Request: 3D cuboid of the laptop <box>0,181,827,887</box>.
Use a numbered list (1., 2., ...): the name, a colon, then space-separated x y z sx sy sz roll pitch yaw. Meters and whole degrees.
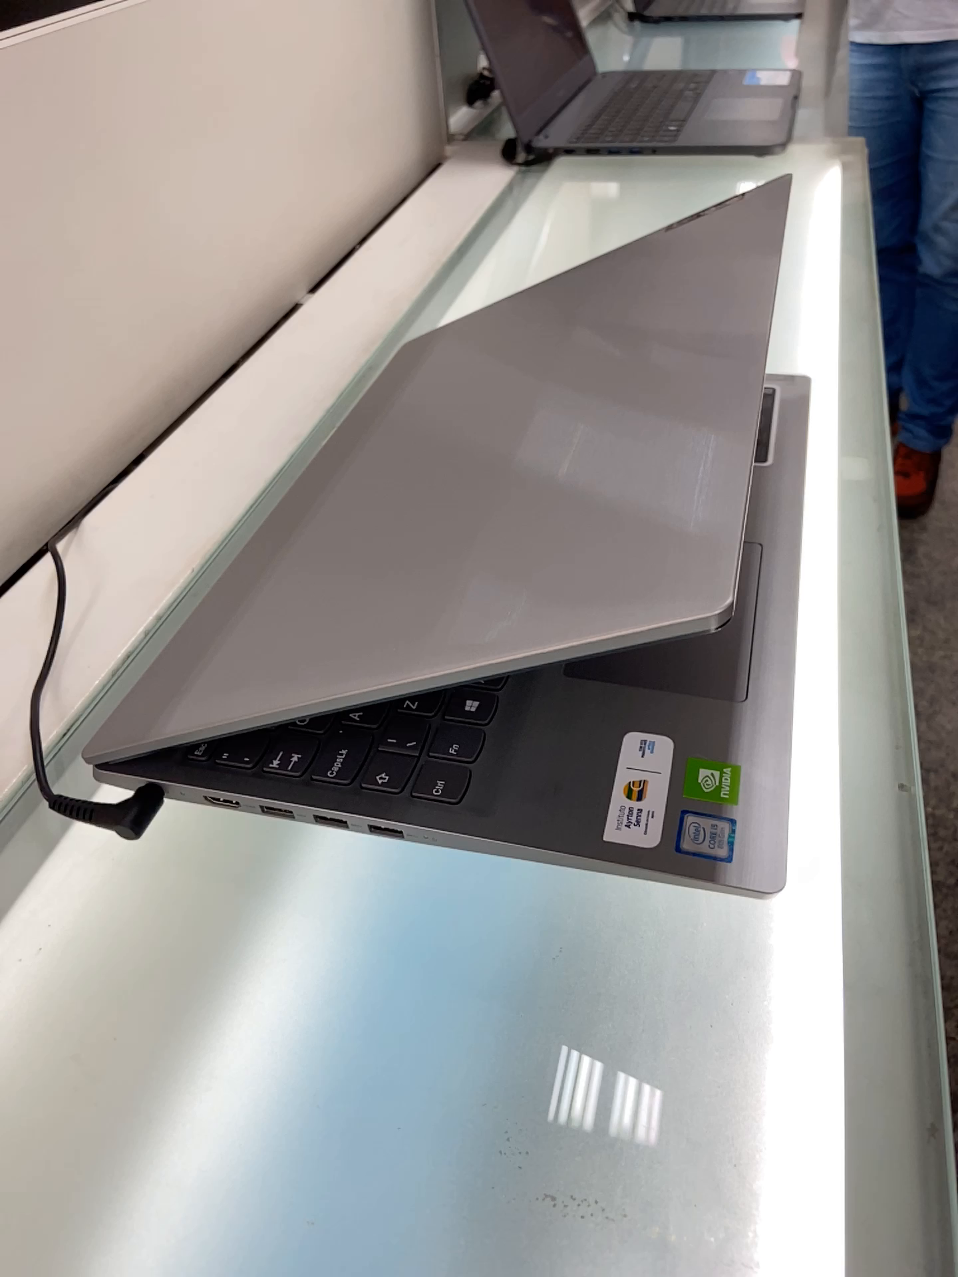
1. laptop: 0.016 -0.090 0.429 0.239 0.104 0.355 7 41 14
